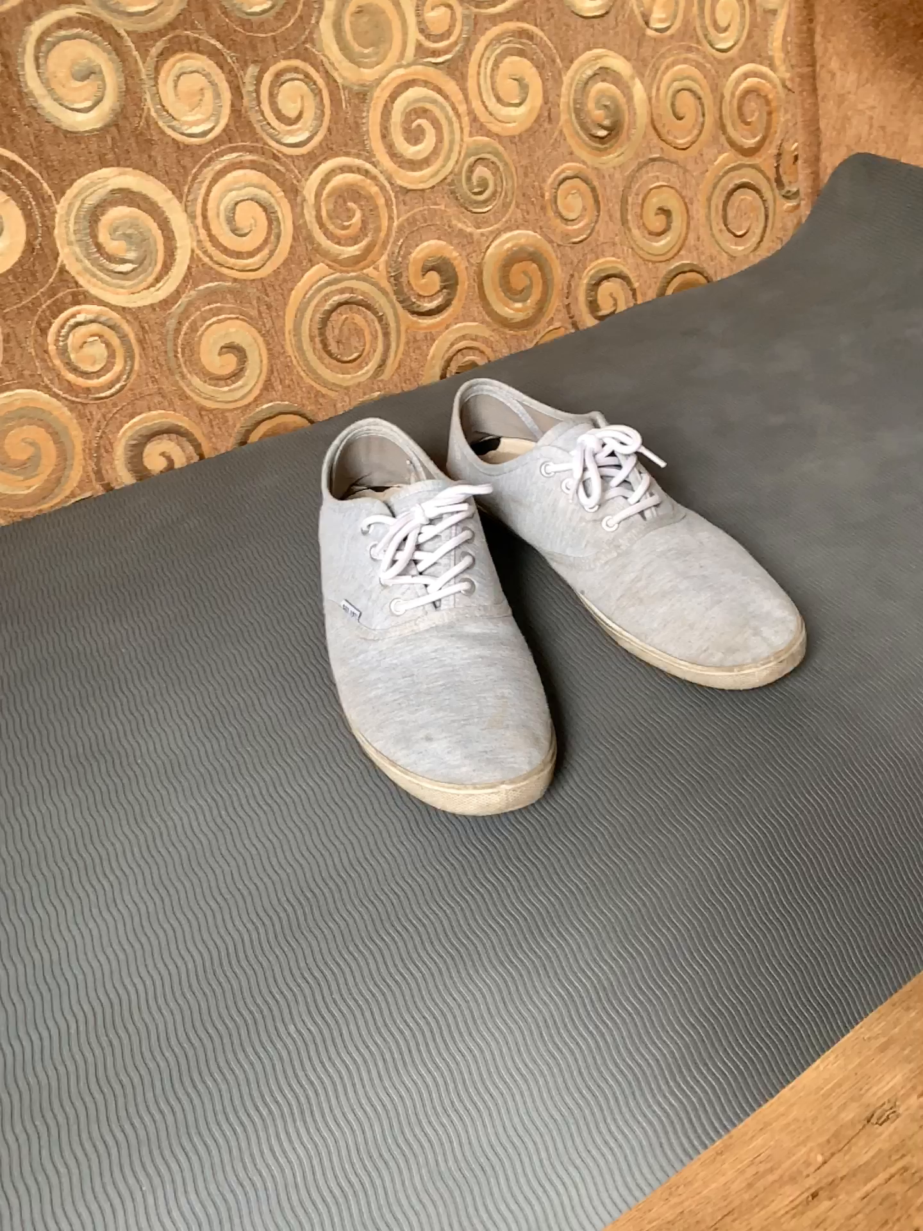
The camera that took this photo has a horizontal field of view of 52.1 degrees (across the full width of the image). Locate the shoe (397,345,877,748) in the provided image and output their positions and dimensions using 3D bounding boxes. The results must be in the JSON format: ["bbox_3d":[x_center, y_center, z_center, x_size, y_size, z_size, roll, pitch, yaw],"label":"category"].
[{"bbox_3d":[0.085,-0.056,0.552,0.110,0.080,0.261,-29,50,-25],"label":"shoe"}]

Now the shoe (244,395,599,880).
[{"bbox_3d":[-0.034,-0.007,0.502,0.110,0.080,0.261,-14,45,-12],"label":"shoe"}]
